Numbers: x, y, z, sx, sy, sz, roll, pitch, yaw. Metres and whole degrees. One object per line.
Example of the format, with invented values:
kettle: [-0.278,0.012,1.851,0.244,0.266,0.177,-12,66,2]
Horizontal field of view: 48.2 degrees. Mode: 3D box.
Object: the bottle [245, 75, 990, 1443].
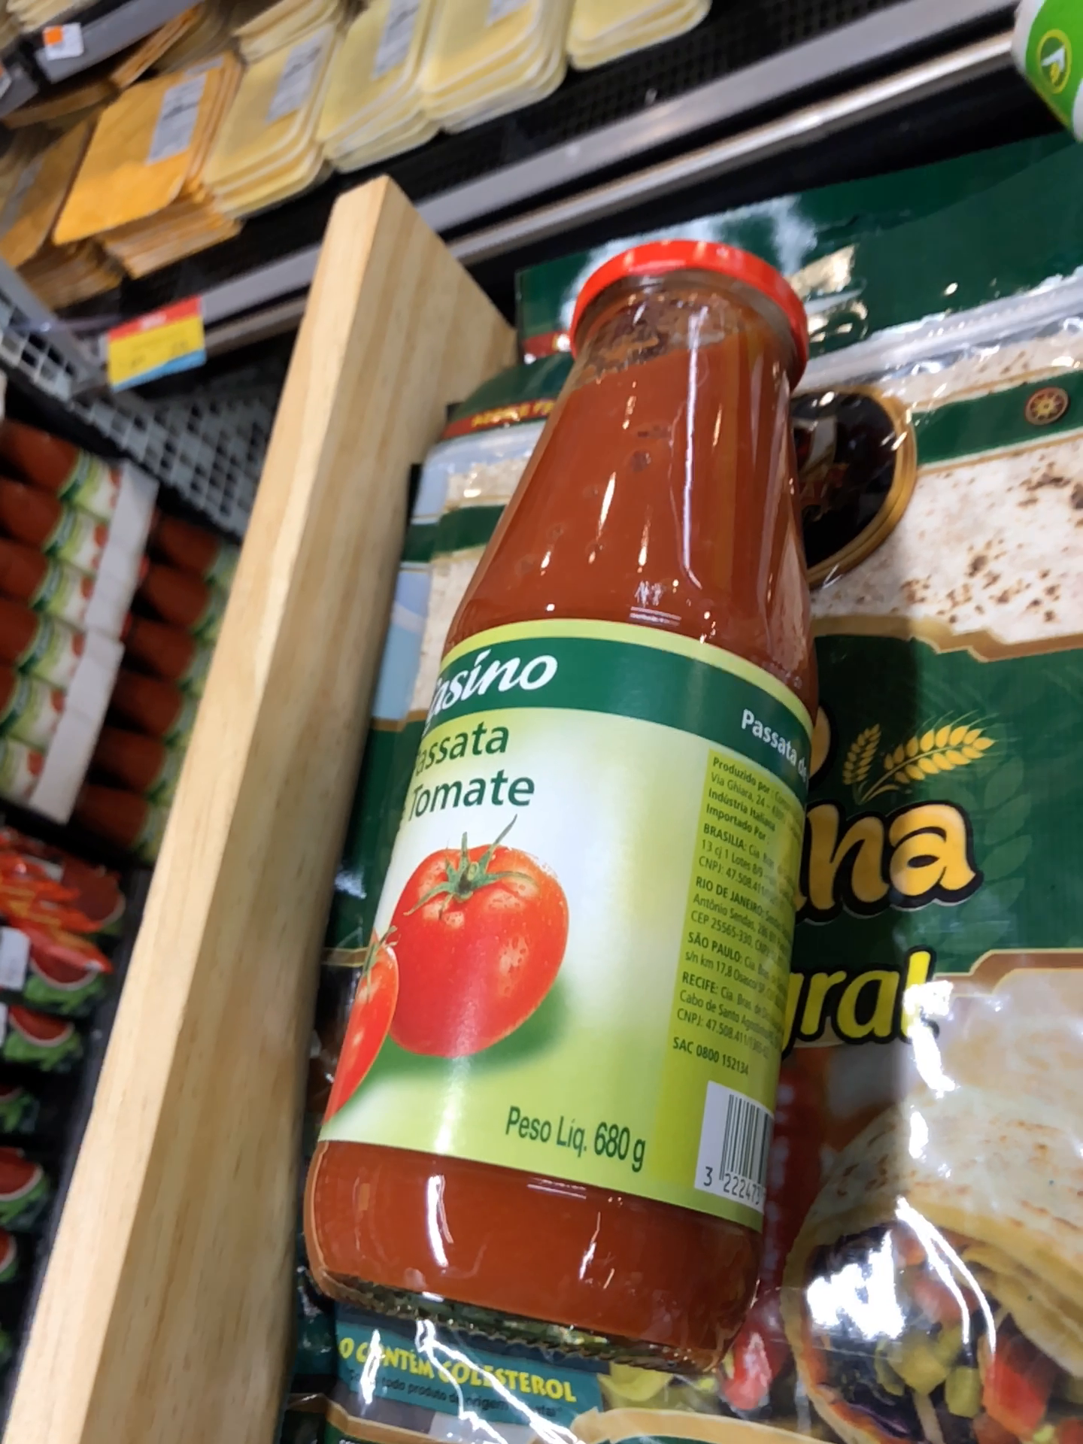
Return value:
bottle: [0.024,0.003,0.236,0.070,0.080,0.230,-22,50,55]
